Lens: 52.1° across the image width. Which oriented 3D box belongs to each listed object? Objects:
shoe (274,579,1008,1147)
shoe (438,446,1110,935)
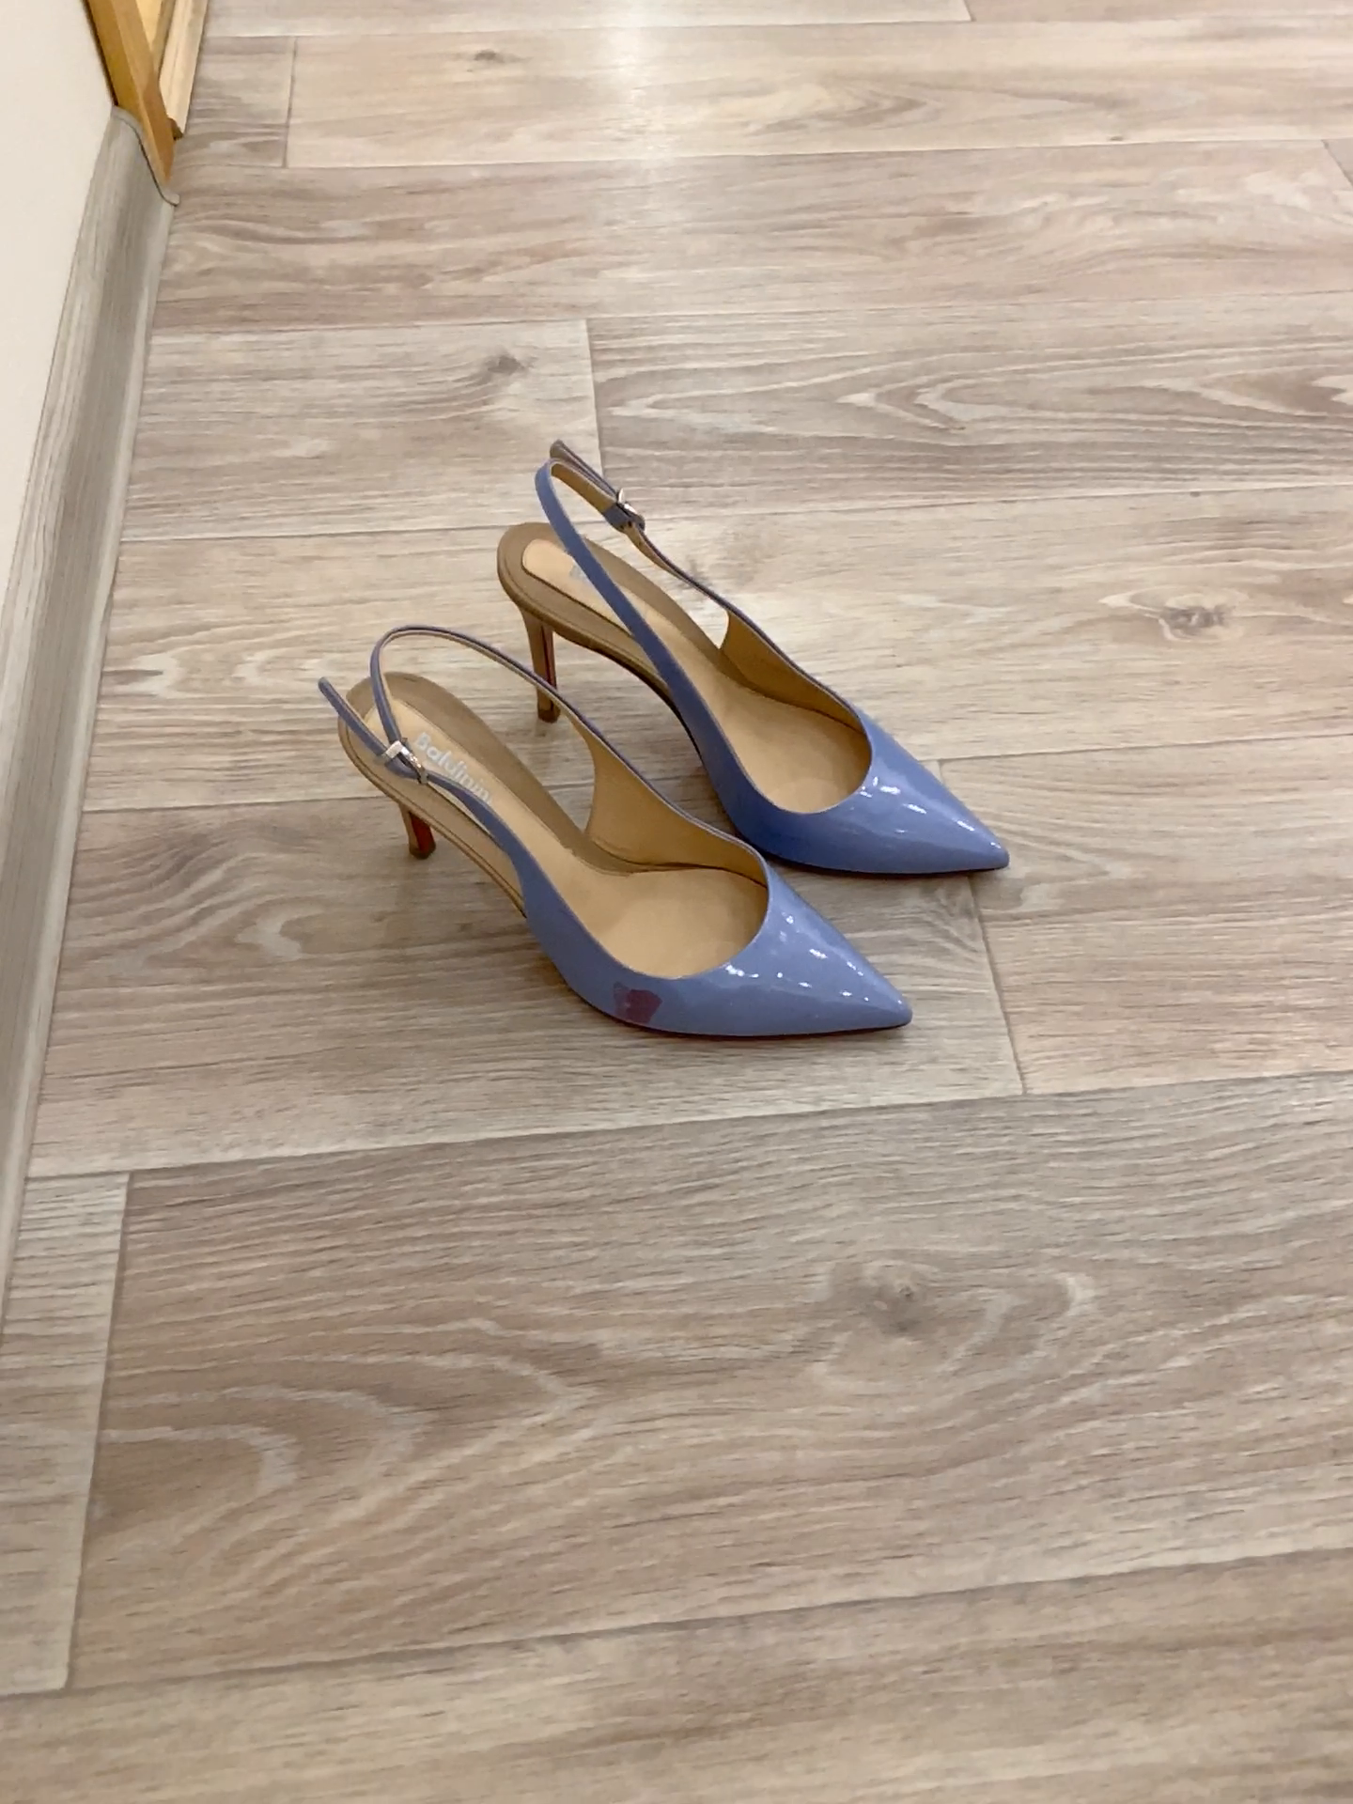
[{"bbox_3d":[-0.014,-0.016,0.505,0.230,0.100,0.090,22,59,13],"label":"shoe"},{"bbox_3d":[0.035,-0.084,0.548,0.230,0.100,0.090,18,58,10],"label":"shoe"}]
